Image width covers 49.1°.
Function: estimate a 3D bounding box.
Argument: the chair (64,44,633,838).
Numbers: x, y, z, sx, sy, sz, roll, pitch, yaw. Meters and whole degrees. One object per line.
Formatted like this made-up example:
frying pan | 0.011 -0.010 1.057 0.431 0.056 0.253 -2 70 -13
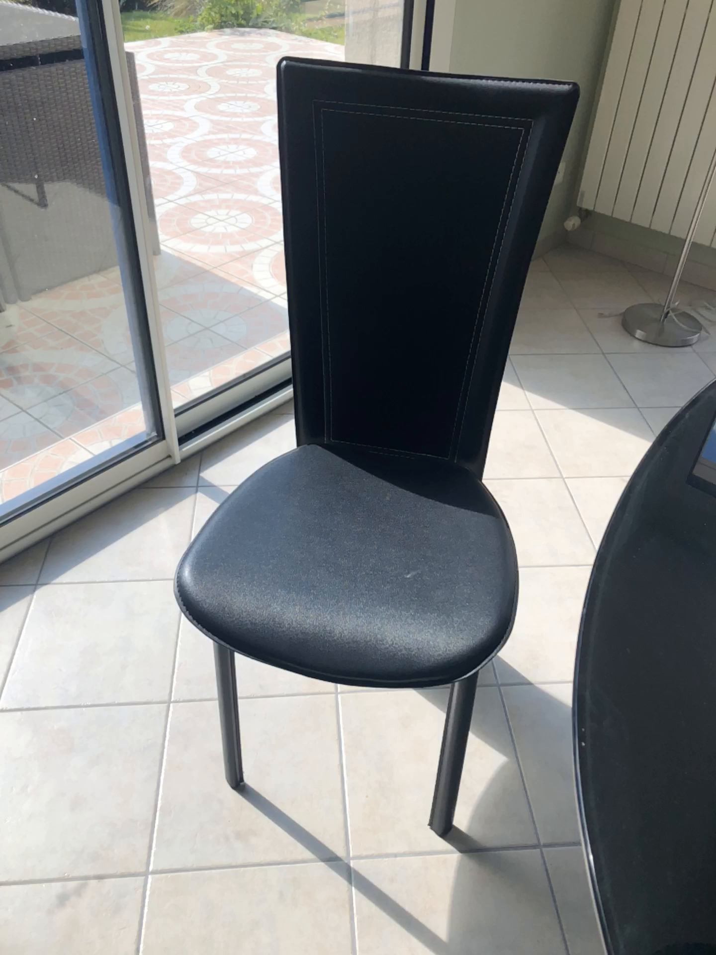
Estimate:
chair | 0.014 -0.030 1.071 0.450 0.894 0.503 9 37 8
